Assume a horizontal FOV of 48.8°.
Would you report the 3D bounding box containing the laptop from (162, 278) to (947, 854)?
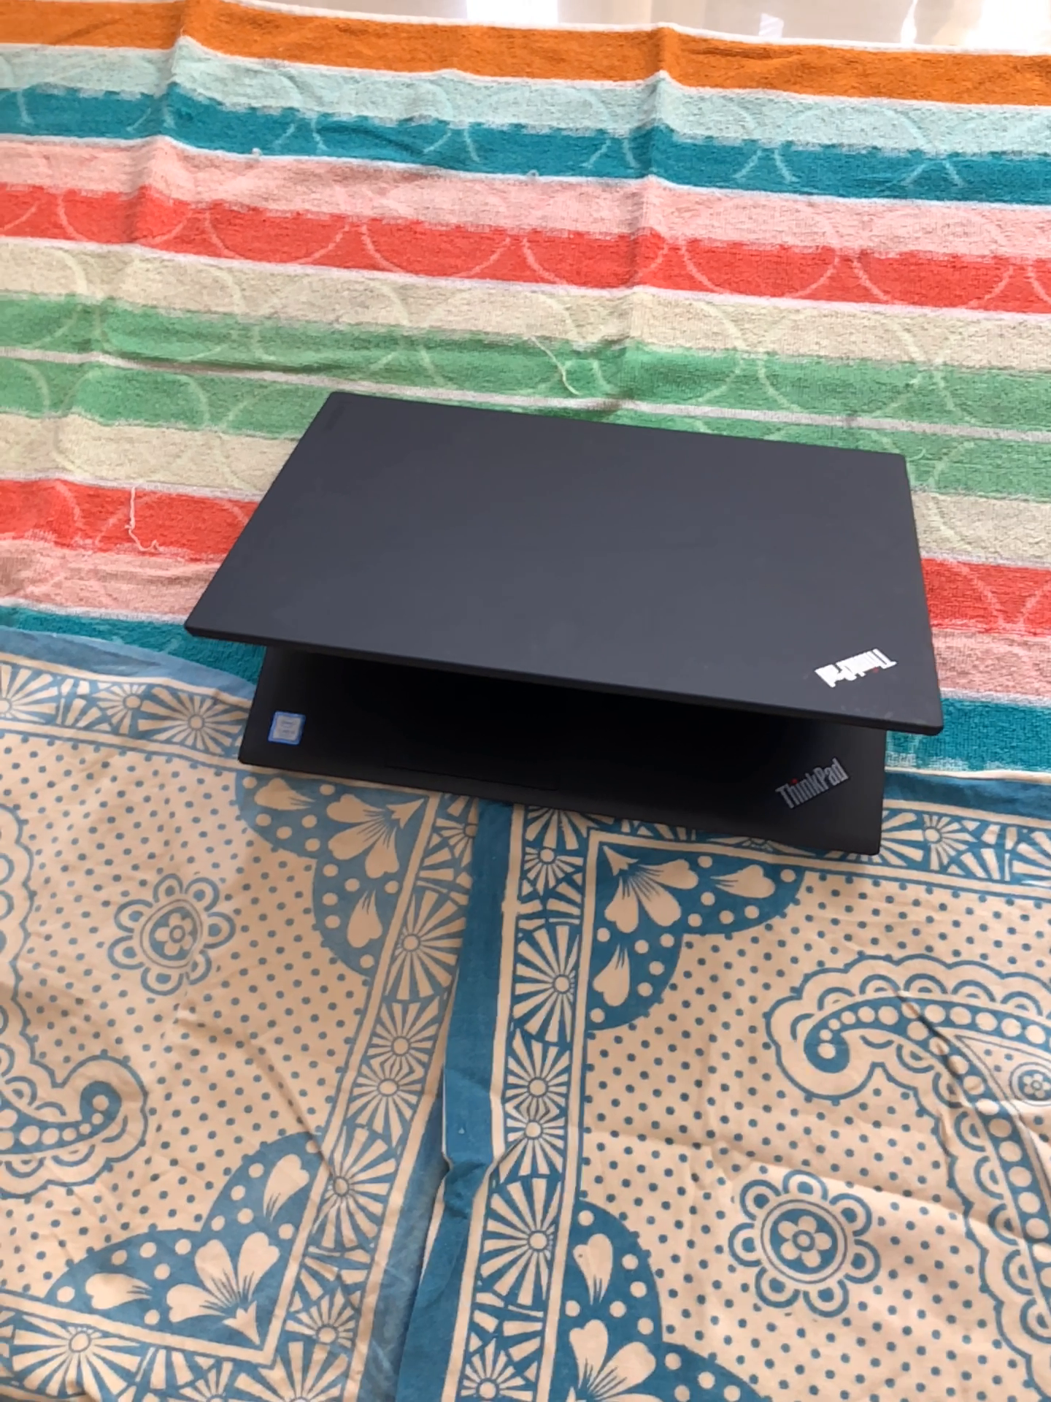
[{"bbox_3d":[0.029,-0.072,0.621,0.345,0.122,0.243,8,68,4],"label":"laptop"}]
